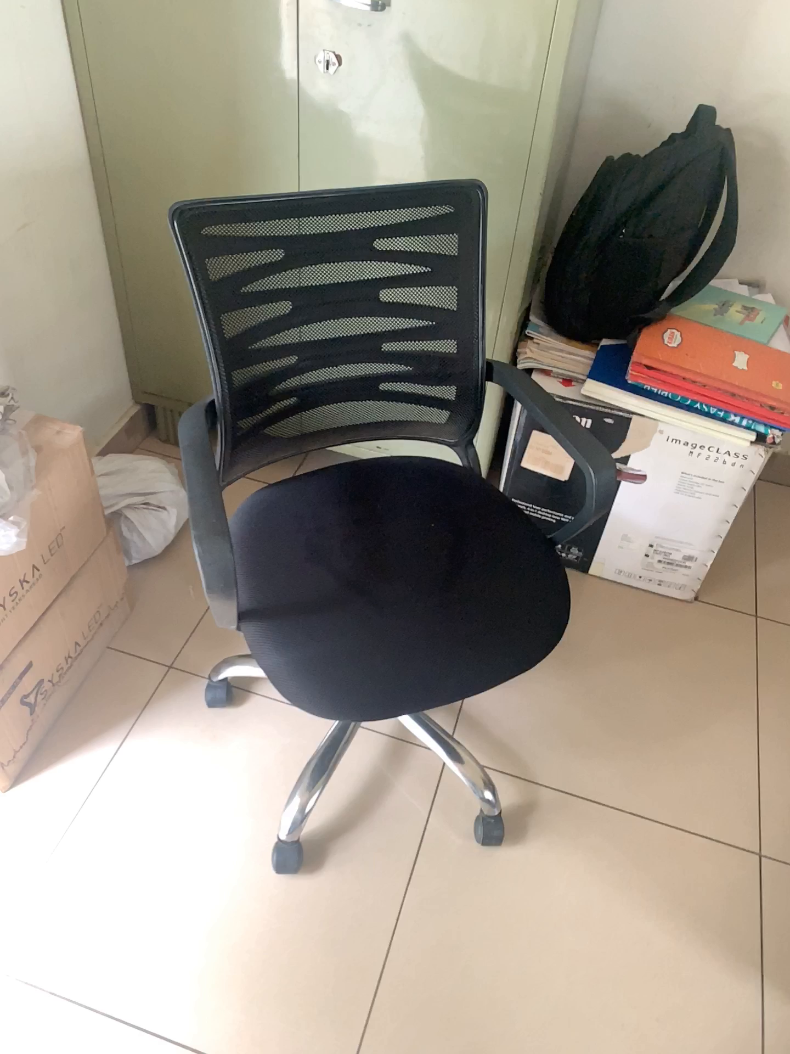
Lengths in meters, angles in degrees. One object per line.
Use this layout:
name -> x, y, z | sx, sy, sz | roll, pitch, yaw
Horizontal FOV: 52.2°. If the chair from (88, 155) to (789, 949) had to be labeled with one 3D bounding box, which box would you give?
chair -> -0.006, 0.051, 1.316 | 0.680, 0.996, 0.652 | -14, 47, -20
